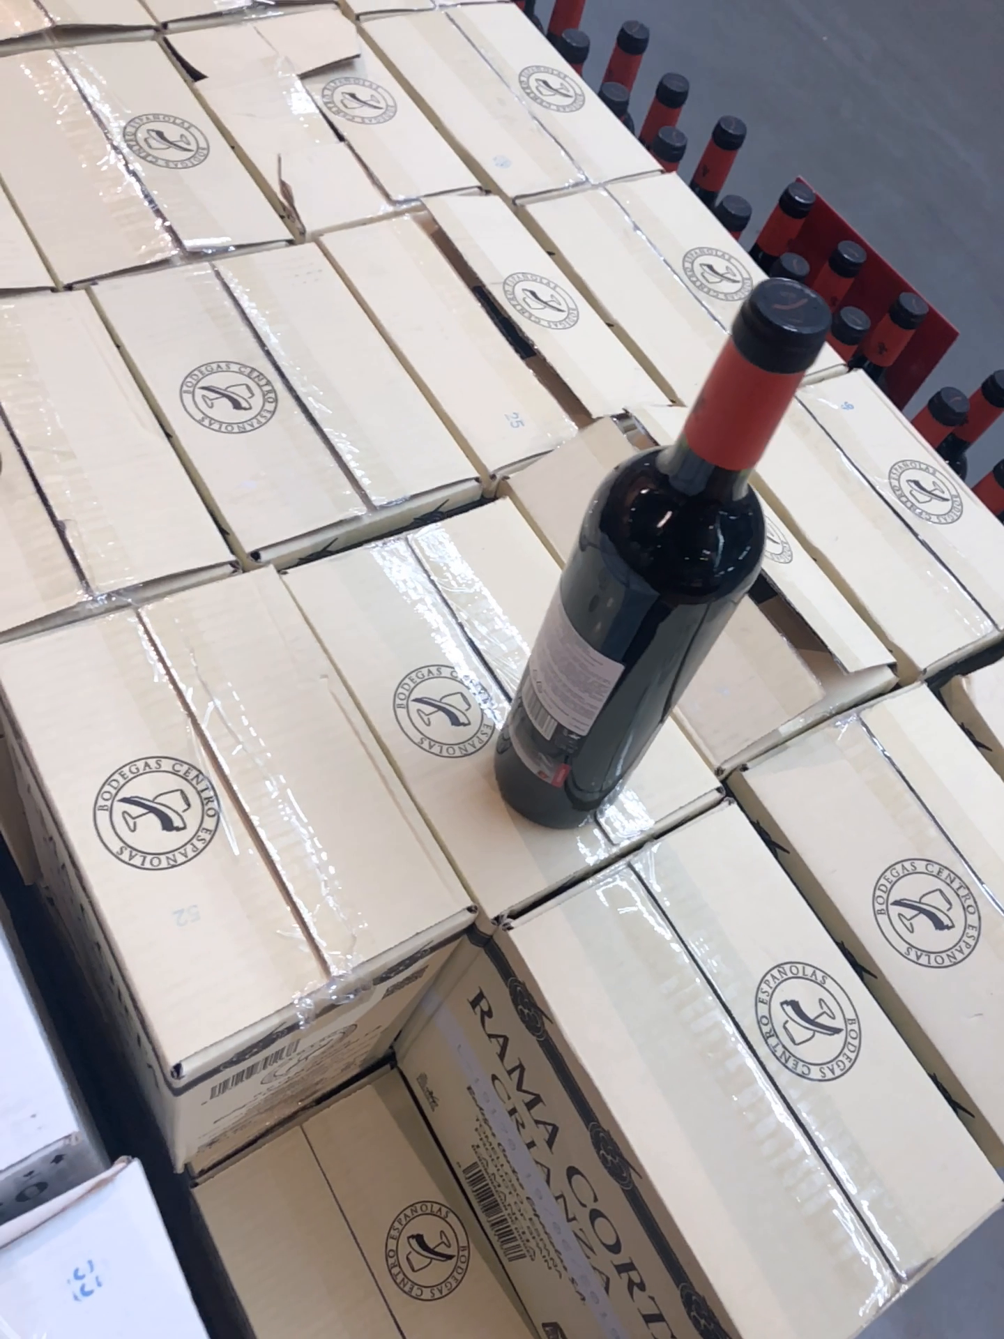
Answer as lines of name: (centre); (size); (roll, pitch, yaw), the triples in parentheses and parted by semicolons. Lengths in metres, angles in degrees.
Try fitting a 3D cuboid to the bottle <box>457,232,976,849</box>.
bottle: (0.059, -0.024, 0.467); (0.090, 0.298, 0.090); (7, 57, -12)
